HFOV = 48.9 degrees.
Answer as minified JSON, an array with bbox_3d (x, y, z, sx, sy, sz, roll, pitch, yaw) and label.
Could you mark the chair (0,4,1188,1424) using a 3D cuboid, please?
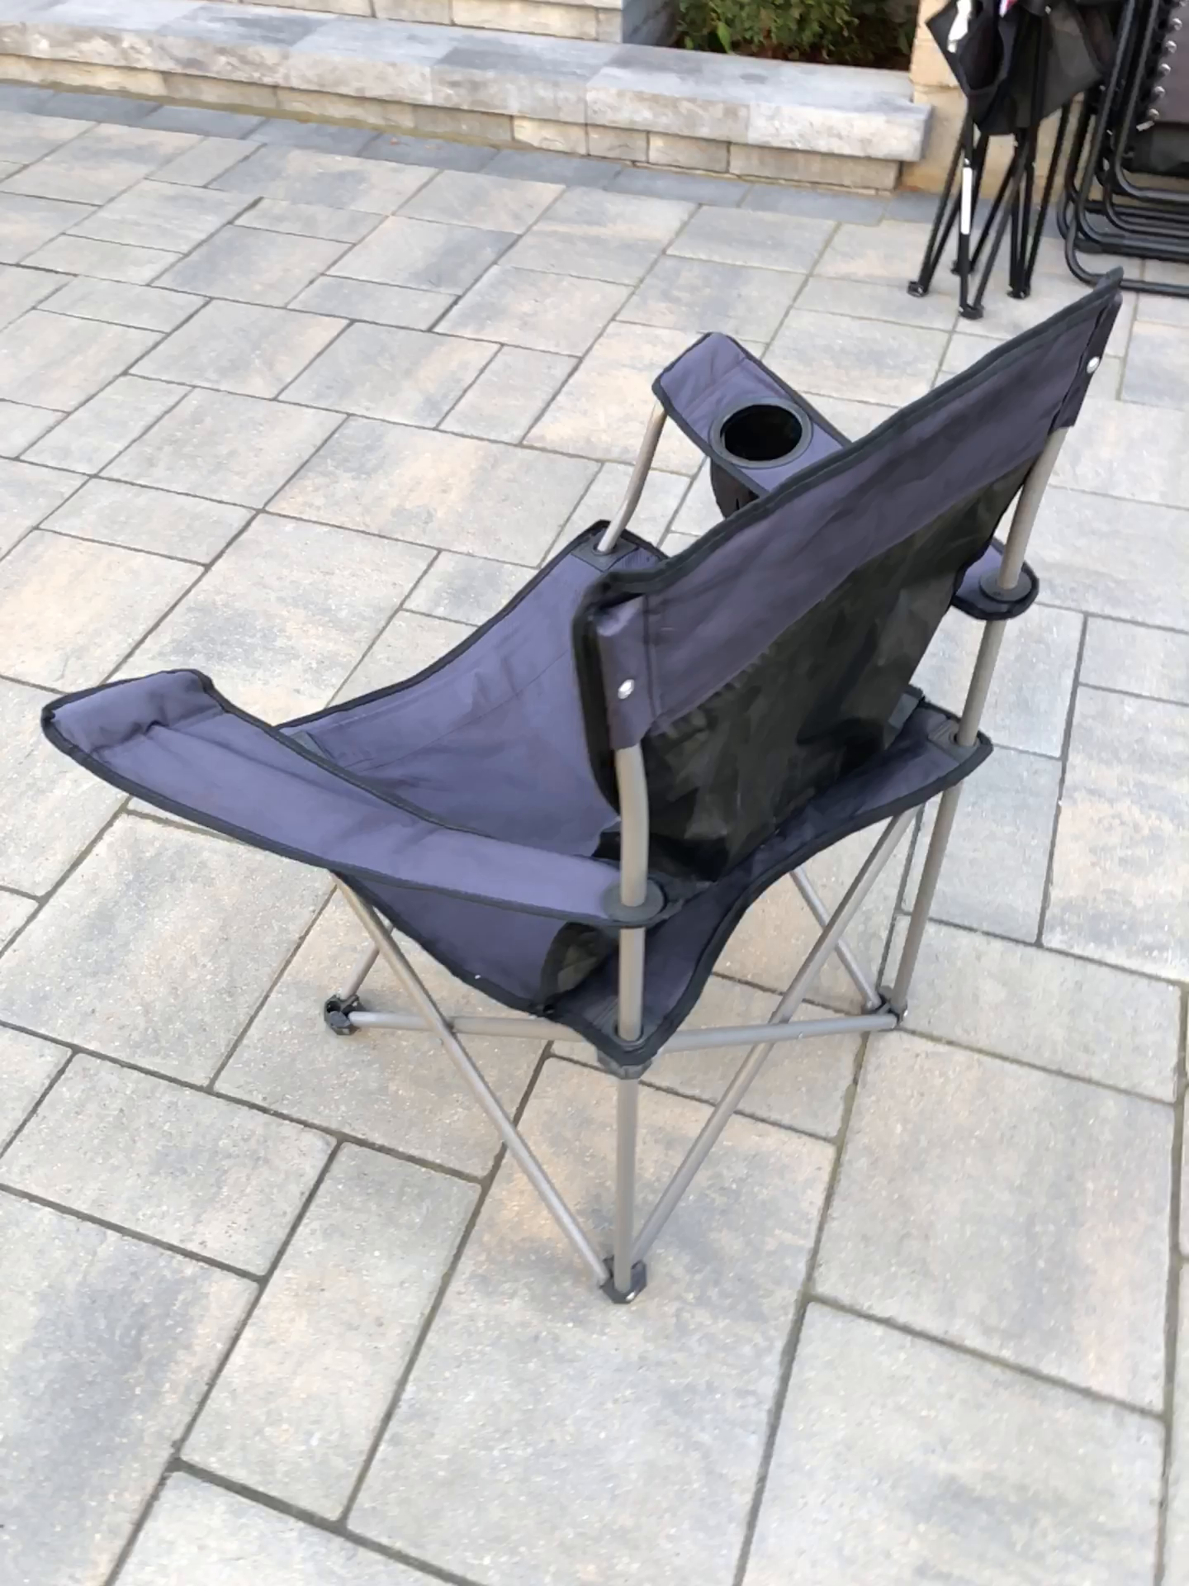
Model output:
[{"bbox_3d":[0.014,-0.083,1.114,0.571,0.817,0.691,33,54,29],"label":"chair"}]
